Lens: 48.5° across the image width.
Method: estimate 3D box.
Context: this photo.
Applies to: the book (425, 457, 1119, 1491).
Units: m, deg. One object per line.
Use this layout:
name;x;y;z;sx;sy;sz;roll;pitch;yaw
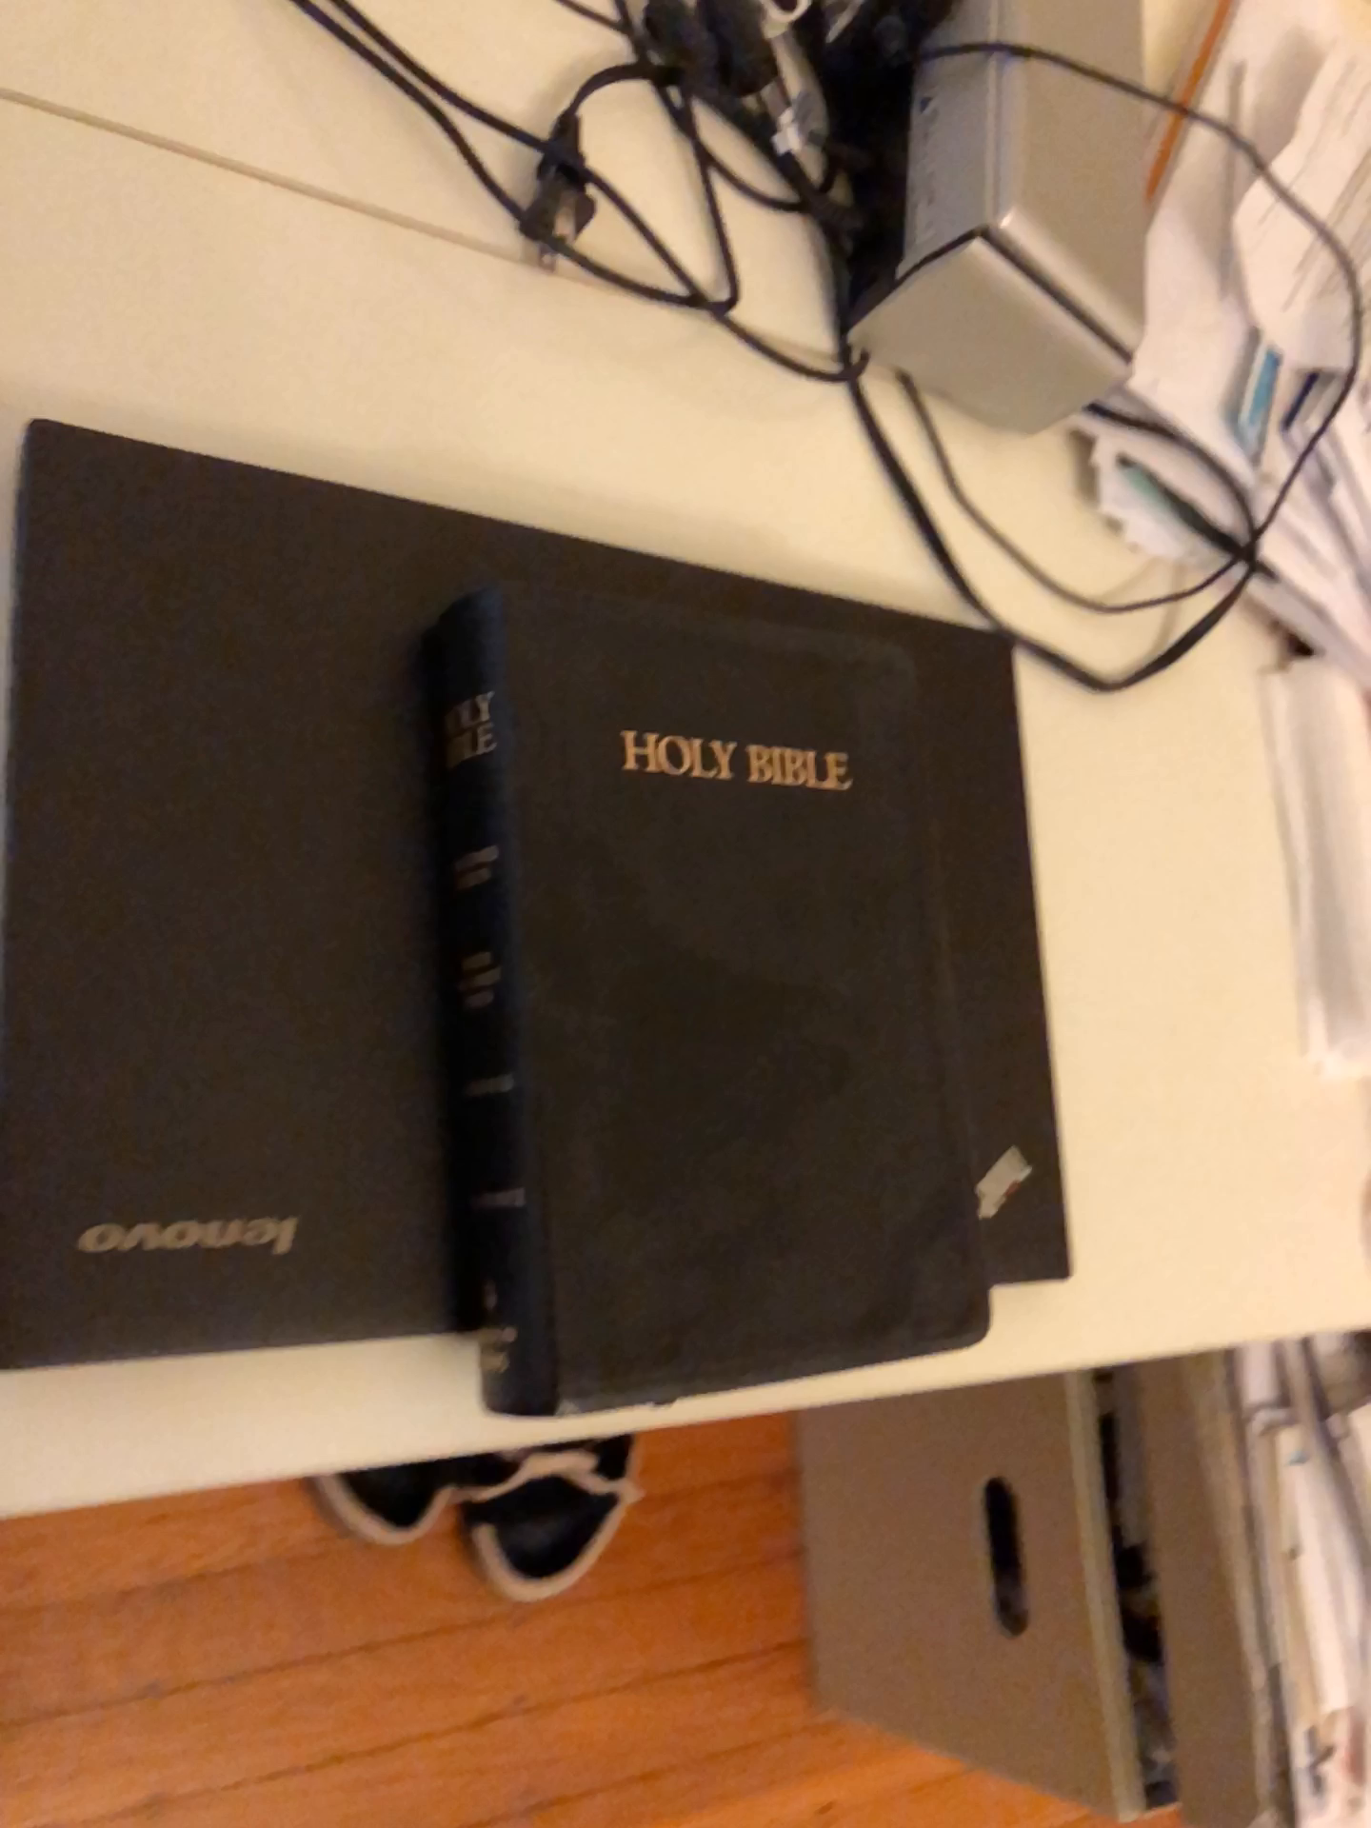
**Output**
book;0.024;0.012;0.409;0.171;0.040;0.240;2;76;-32
